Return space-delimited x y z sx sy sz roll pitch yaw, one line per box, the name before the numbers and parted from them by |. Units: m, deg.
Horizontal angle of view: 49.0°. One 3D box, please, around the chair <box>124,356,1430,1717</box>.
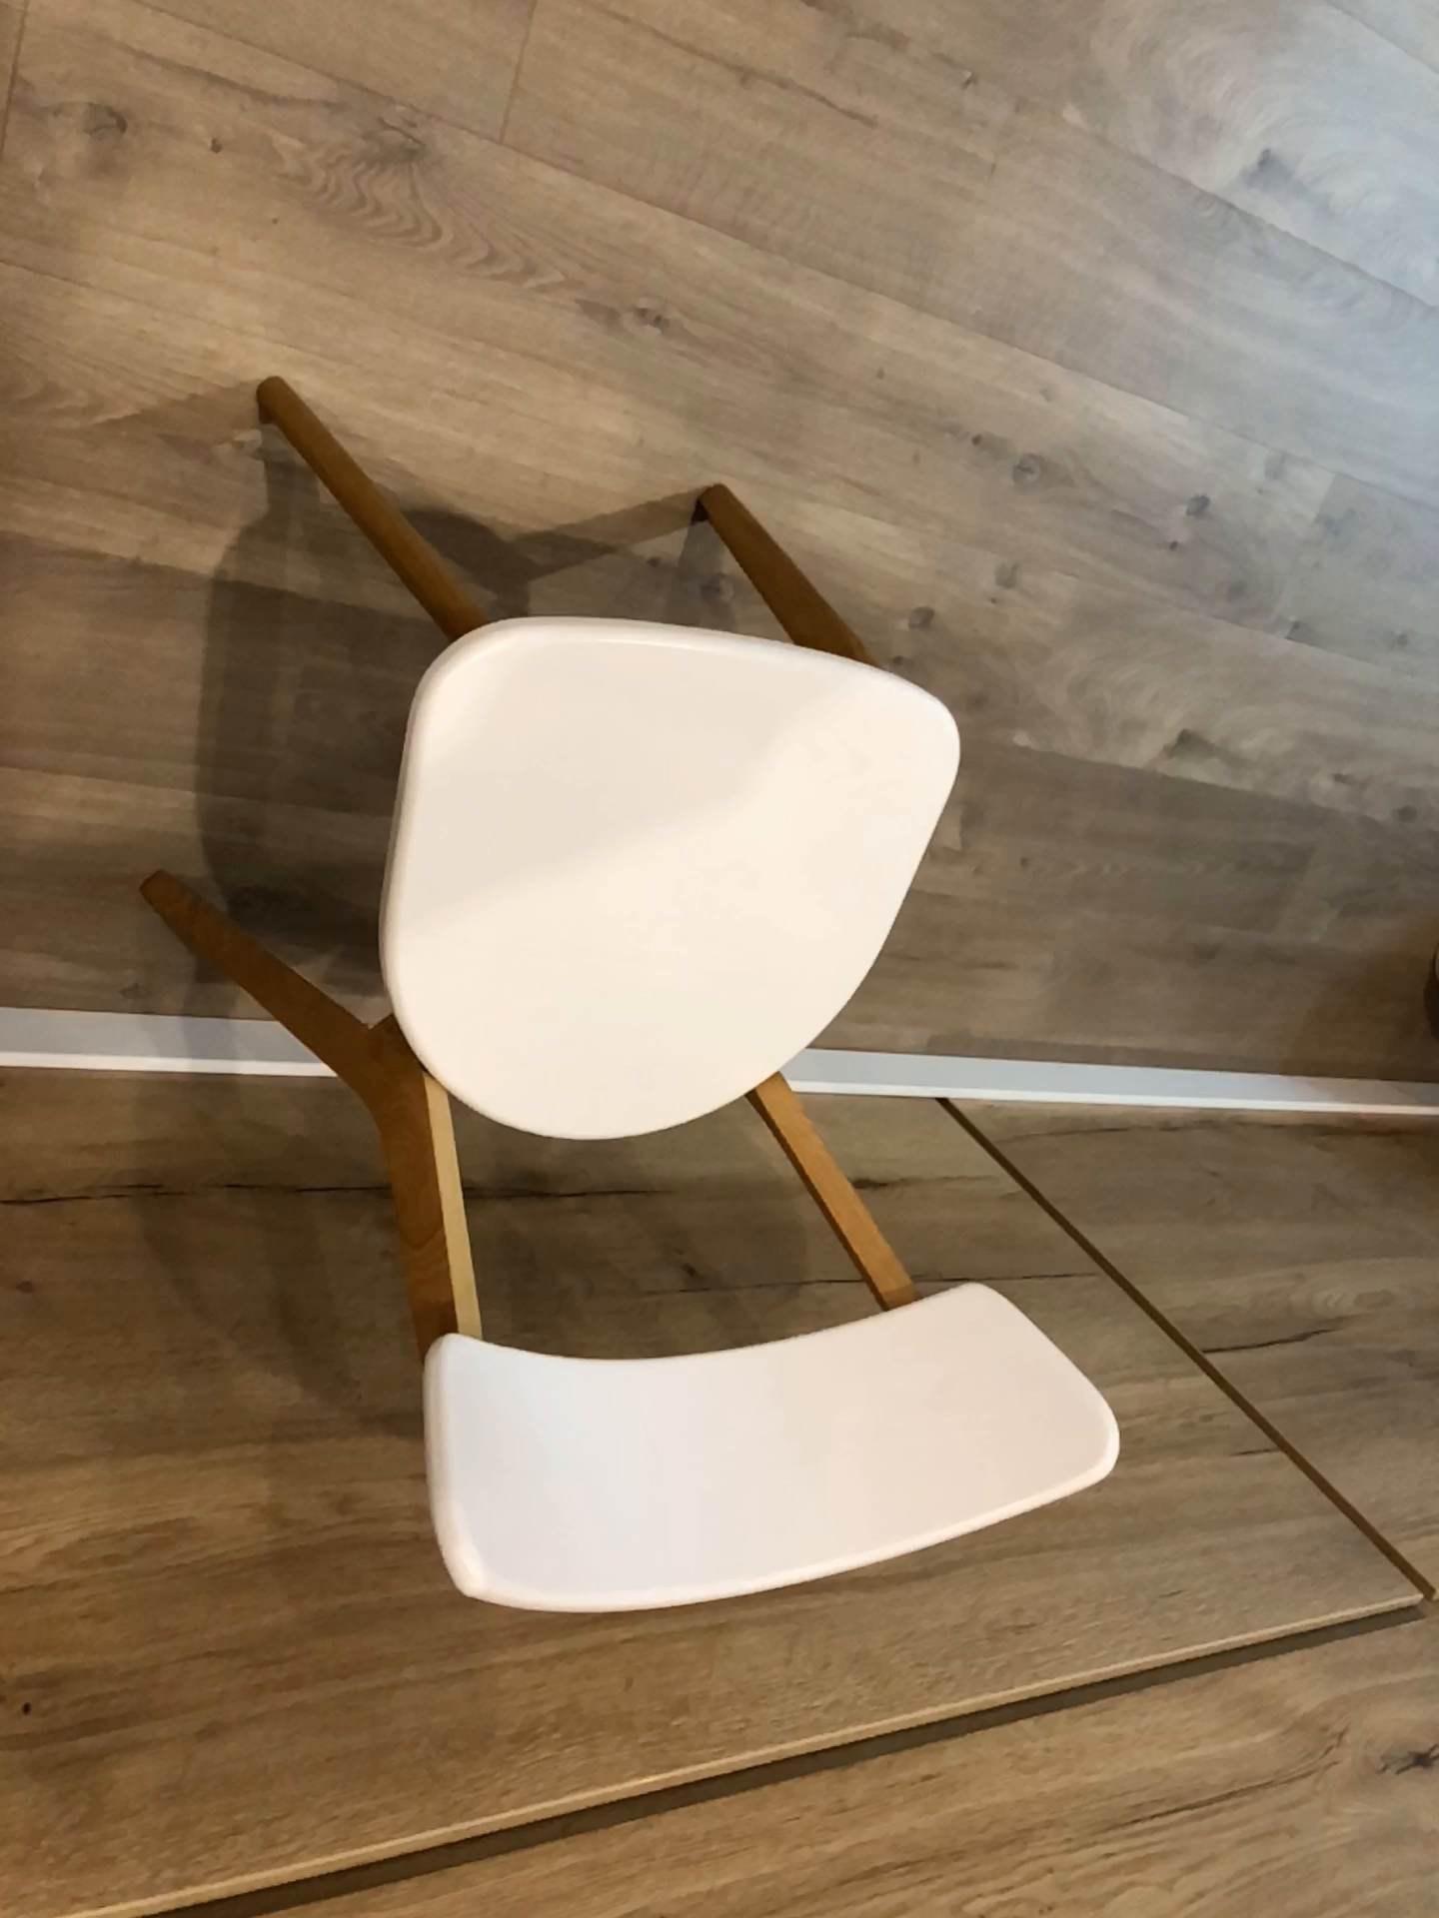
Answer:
chair | -0.077 -0.032 1.156 0.502 0.827 0.530 1 118 -31
